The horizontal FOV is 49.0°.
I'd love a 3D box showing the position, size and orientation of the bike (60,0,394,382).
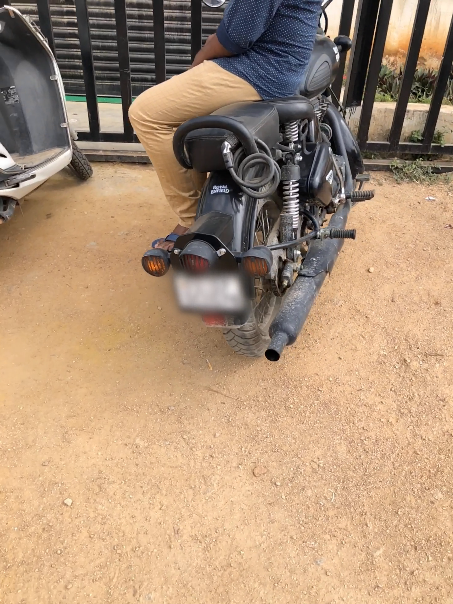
[{"bbox_3d":[0.072,-0.913,2.028,0.722,1.169,1.818,7,40,6],"label":"bike"}]
